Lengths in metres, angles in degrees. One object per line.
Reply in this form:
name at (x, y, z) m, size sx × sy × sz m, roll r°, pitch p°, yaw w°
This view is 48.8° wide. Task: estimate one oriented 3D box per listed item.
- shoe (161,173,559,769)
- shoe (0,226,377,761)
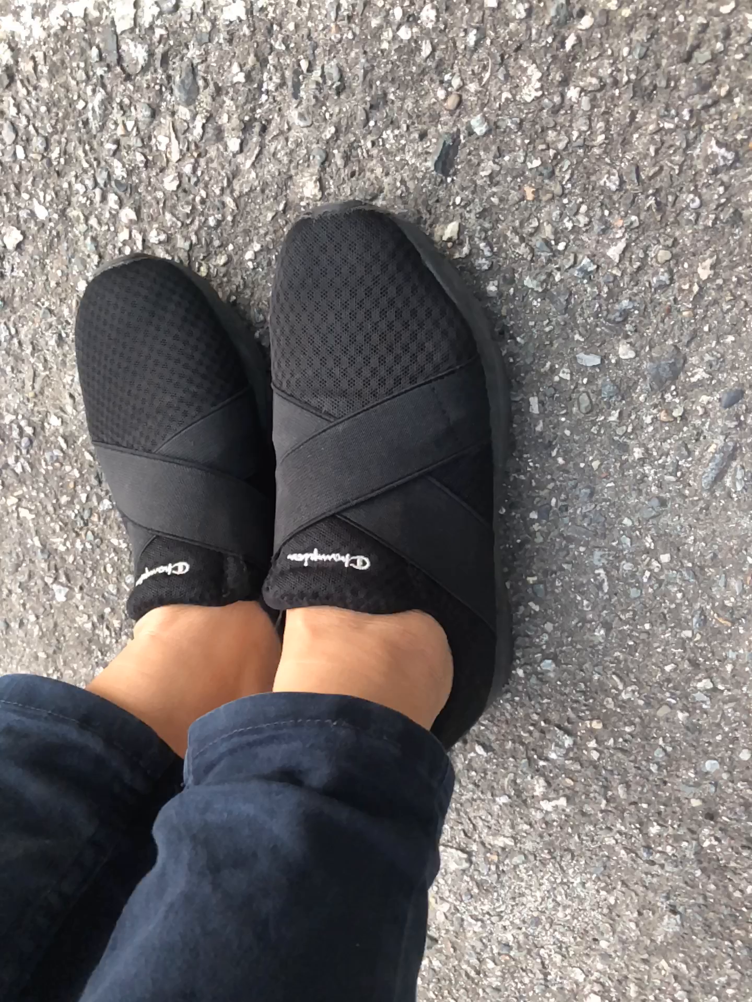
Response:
shoe at (0.006, -0.008, 0.341) m, size 0.100 × 0.080 × 0.220 m, roll -5°, pitch 109°, yaw 21°
shoe at (-0.088, 0.002, 0.380) m, size 0.100 × 0.070 × 0.220 m, roll -12°, pitch 107°, yaw 23°
